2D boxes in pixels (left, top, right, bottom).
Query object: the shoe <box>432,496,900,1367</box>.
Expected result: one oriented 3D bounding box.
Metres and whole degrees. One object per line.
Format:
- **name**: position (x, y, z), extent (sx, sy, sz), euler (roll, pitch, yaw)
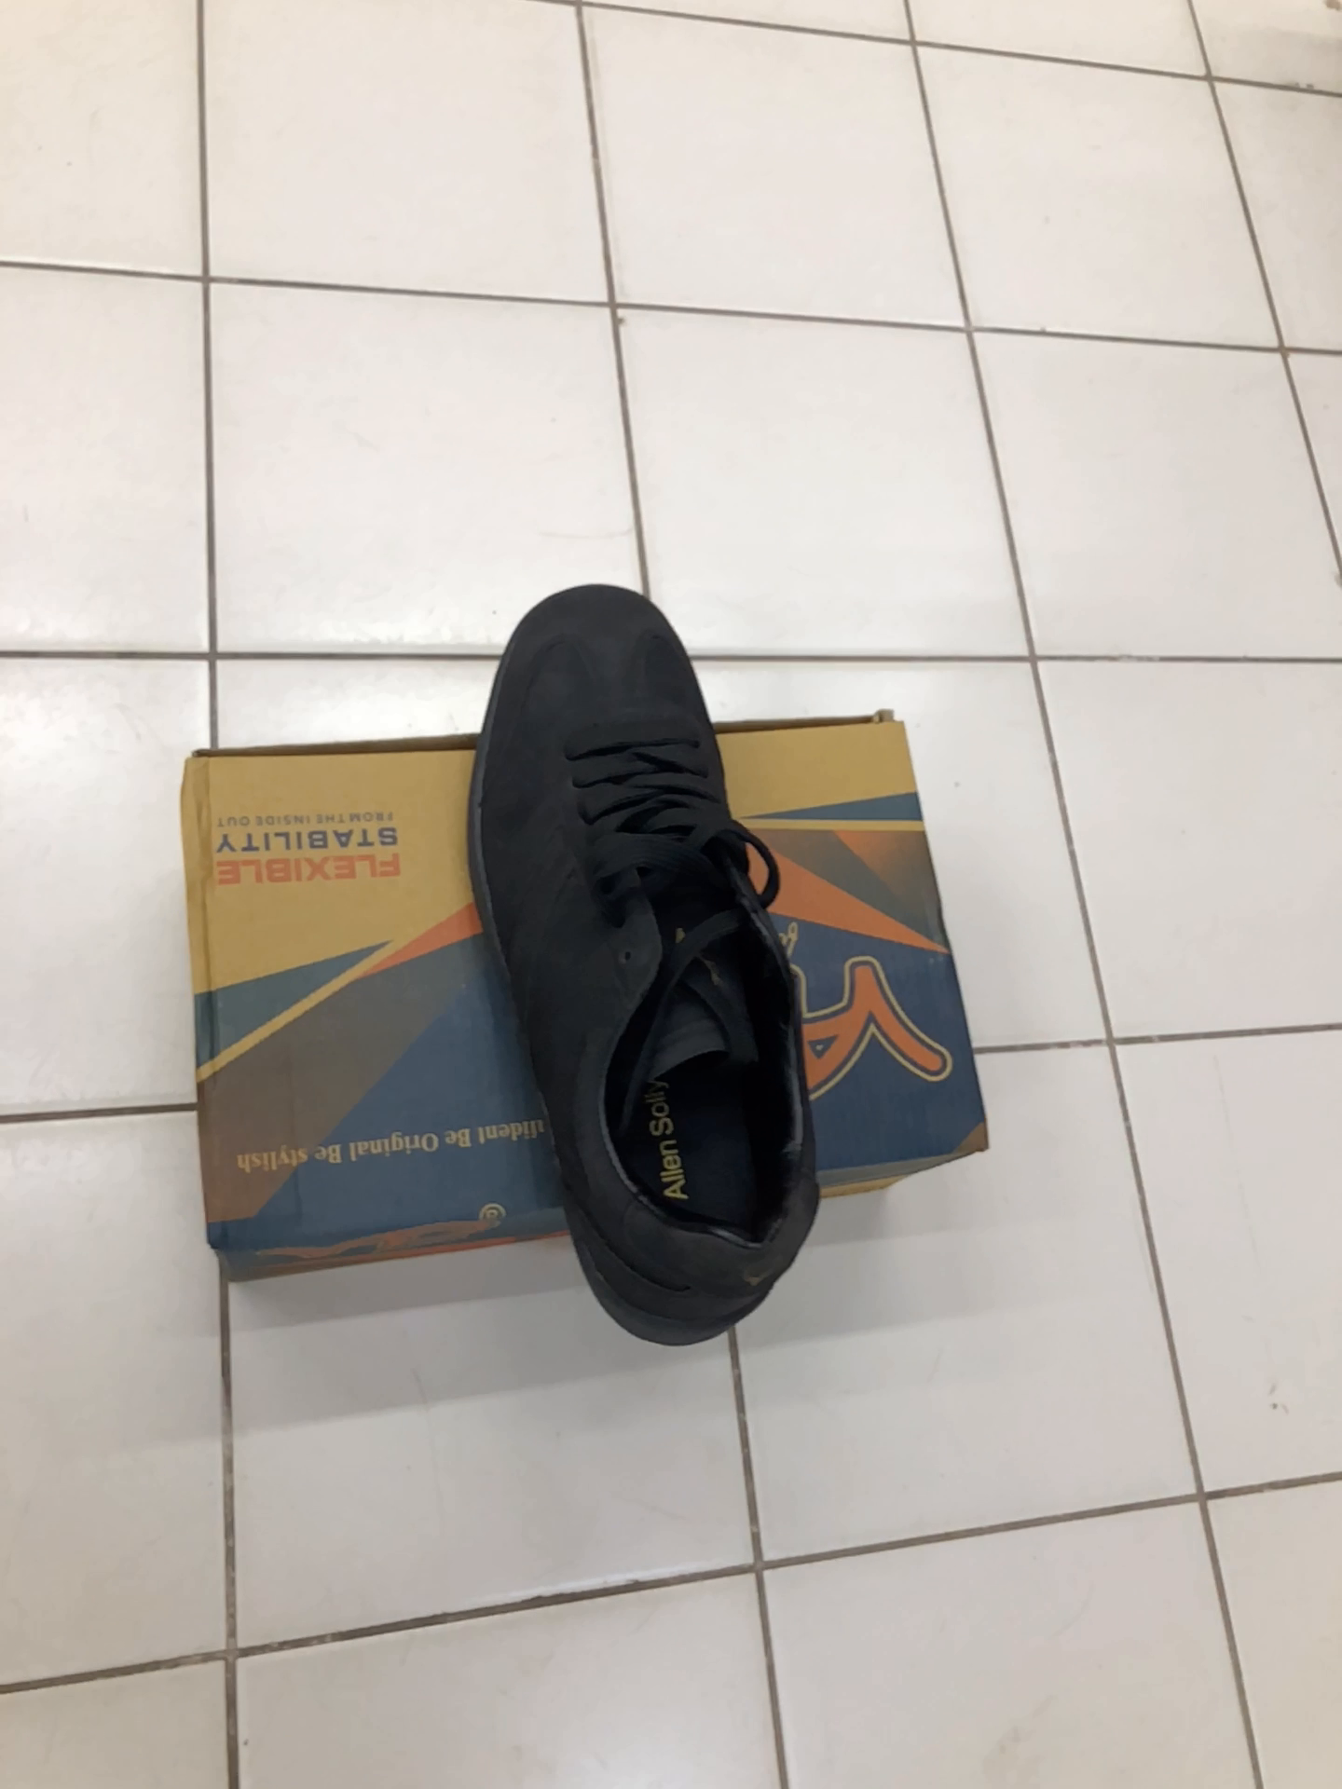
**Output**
- **shoe**: position (-0.011, 0.009, 0.478), extent (0.090, 0.080, 0.260), euler (-6, 73, -16)
